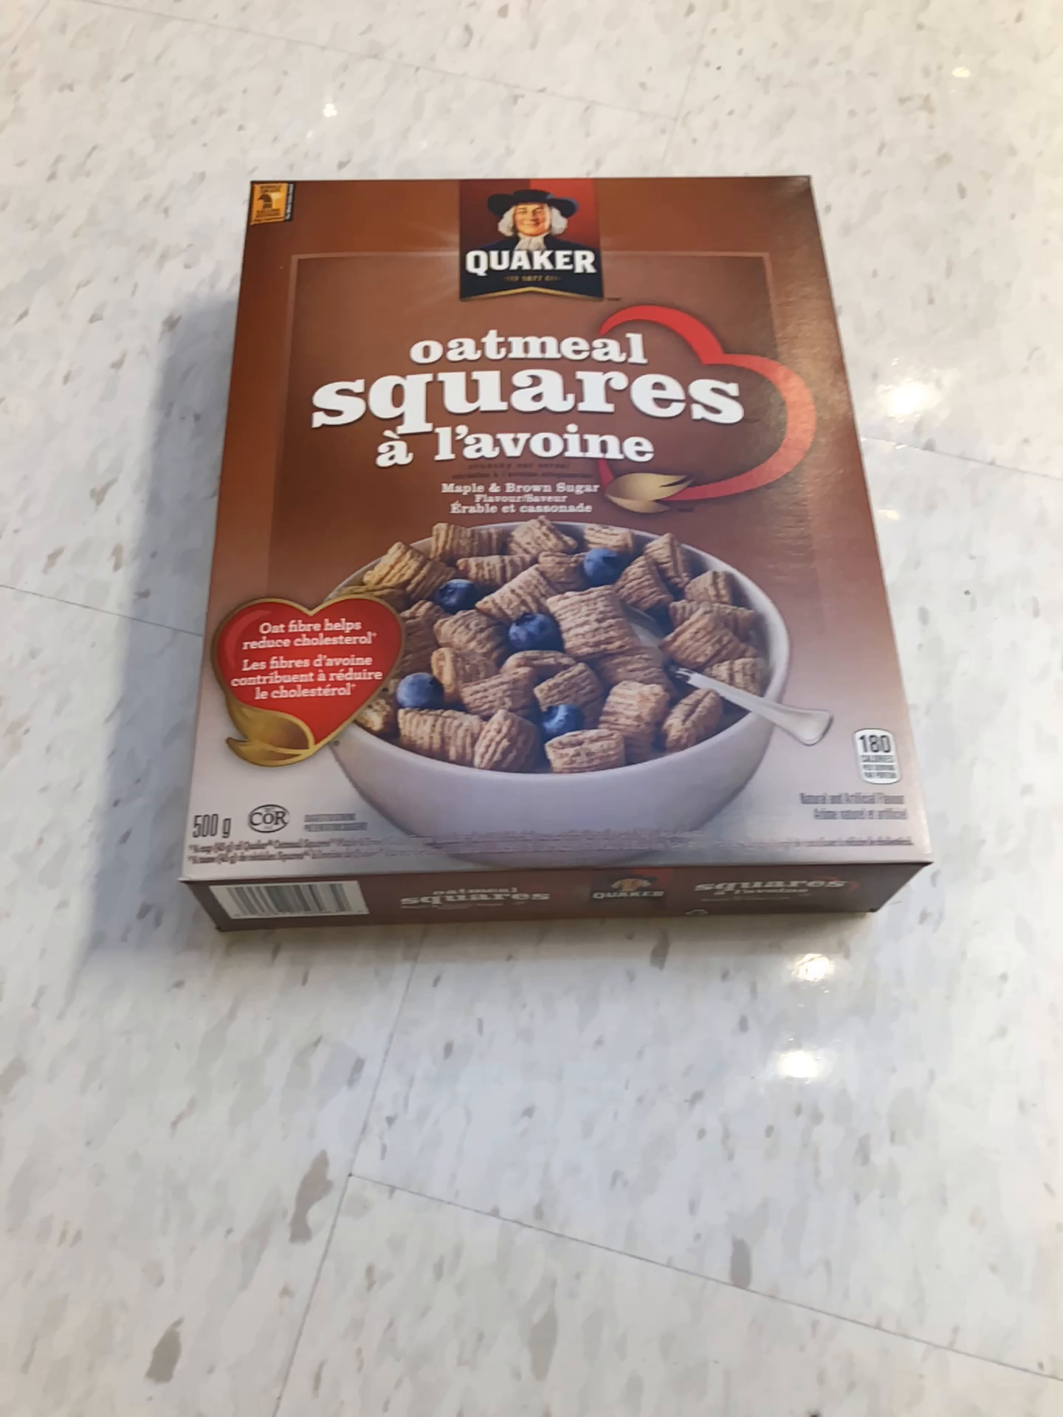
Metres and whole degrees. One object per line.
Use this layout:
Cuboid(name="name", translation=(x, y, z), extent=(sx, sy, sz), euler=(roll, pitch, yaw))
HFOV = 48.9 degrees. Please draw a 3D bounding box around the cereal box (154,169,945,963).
Cuboid(name="cereal box", translation=(0.001, -0.059, 0.399), extent=(0.210, 0.070, 0.271), euler=(-1, 65, -2))
